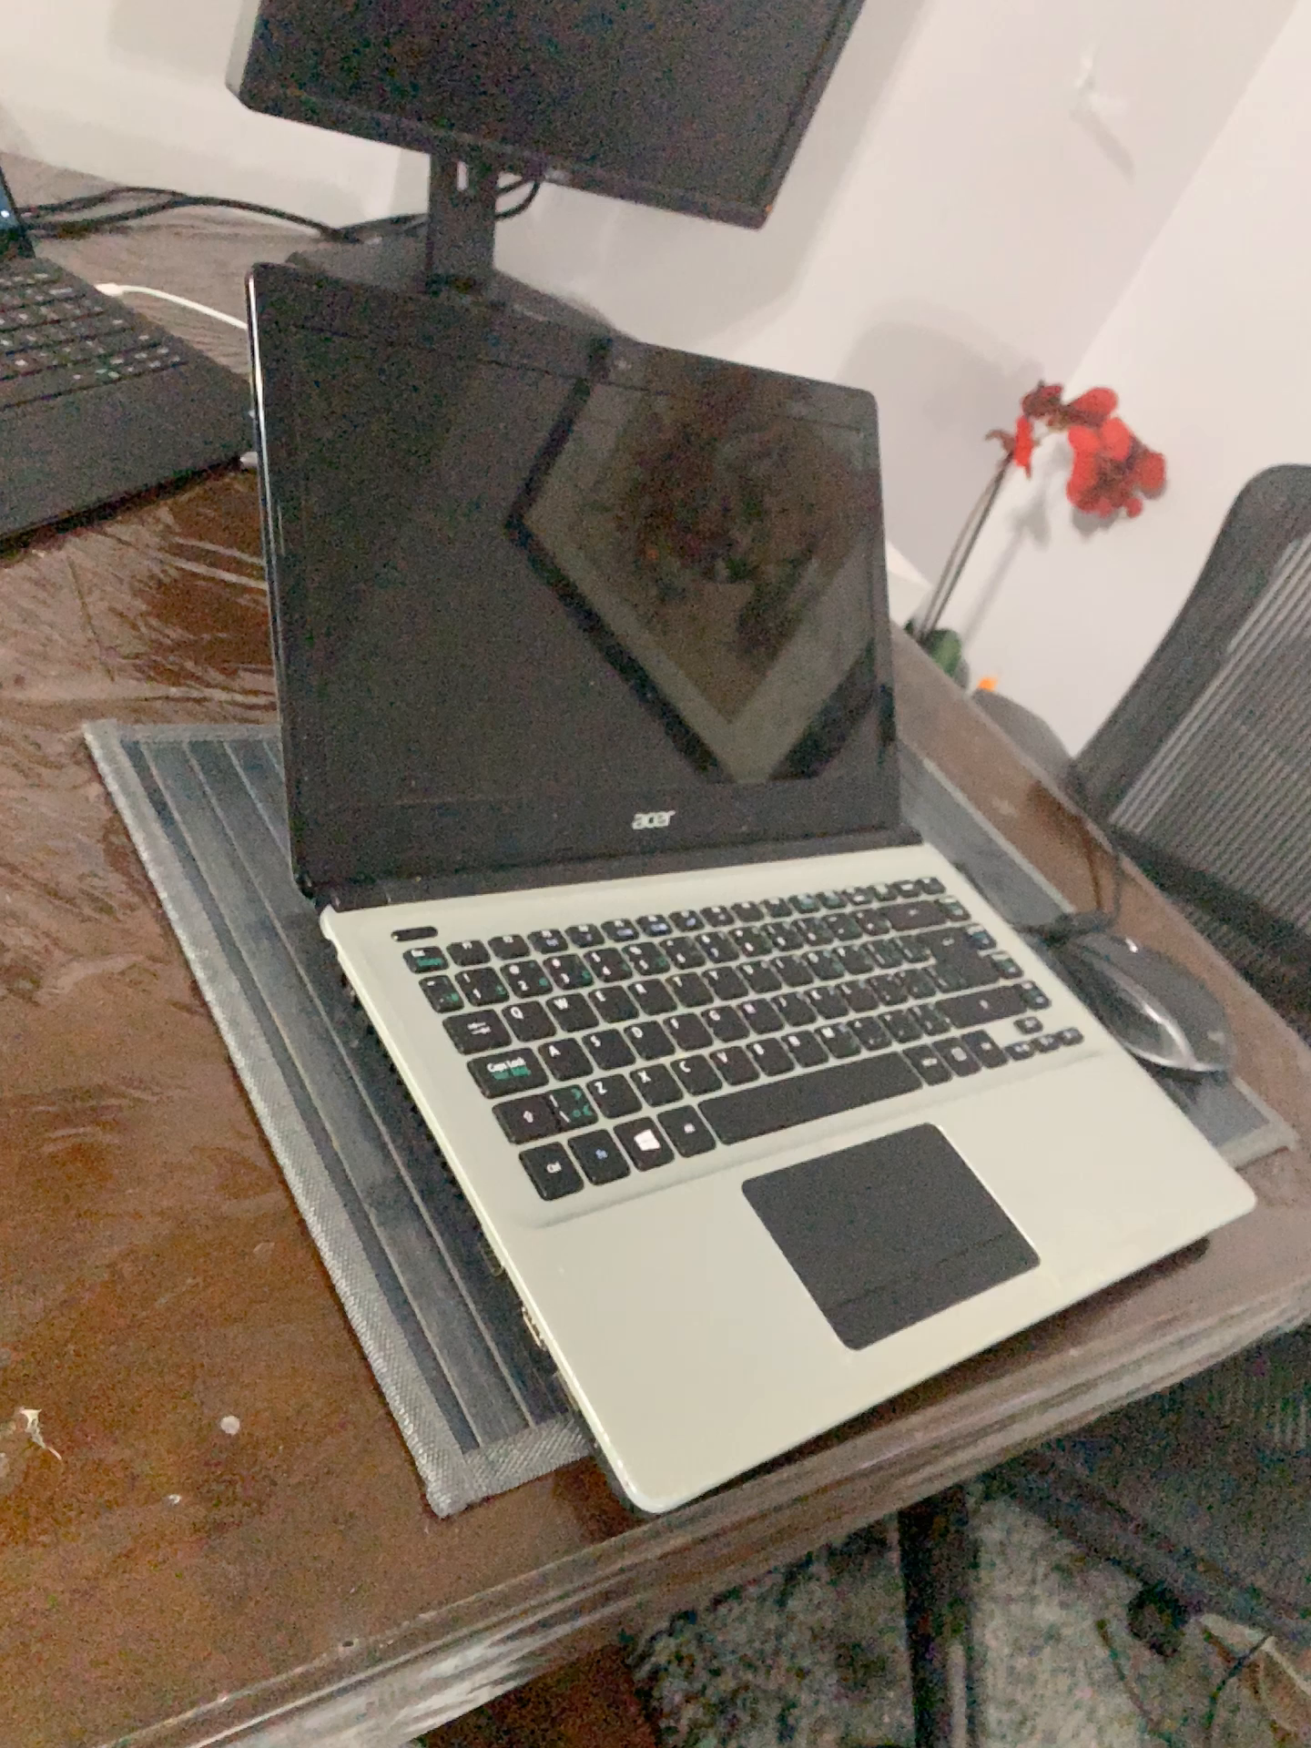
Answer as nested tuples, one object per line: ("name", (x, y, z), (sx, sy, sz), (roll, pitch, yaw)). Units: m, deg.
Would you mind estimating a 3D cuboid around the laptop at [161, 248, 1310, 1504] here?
("laptop", (0.055, -0.039, 0.510), (0.331, 0.146, 0.386), (-6, 47, -41))
